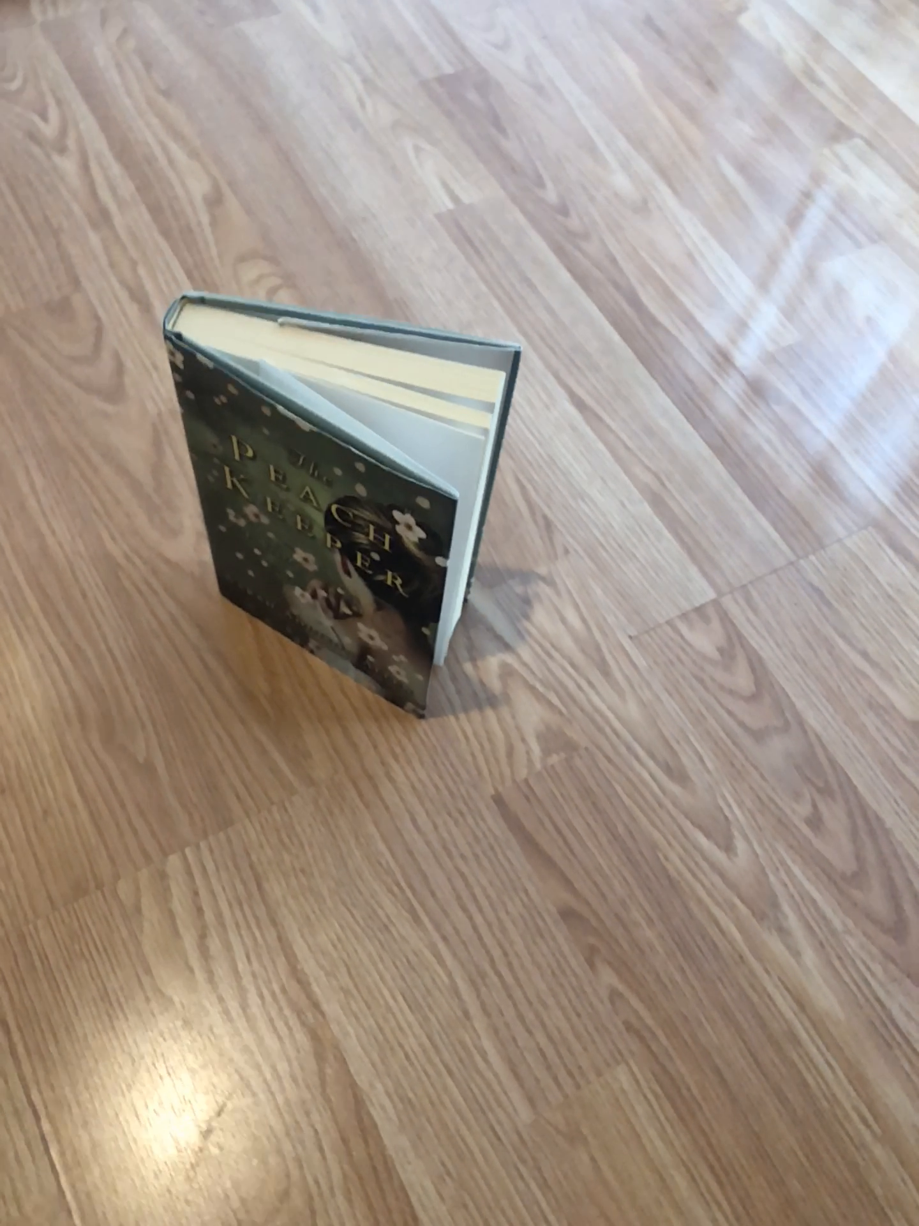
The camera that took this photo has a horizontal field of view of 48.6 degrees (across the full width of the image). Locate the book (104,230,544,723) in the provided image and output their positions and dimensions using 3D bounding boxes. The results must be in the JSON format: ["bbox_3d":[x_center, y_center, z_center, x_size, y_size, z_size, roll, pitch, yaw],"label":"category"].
[{"bbox_3d":[-0.061,-0.049,0.492,0.150,0.220,0.080,20,62,4],"label":"book"}]
